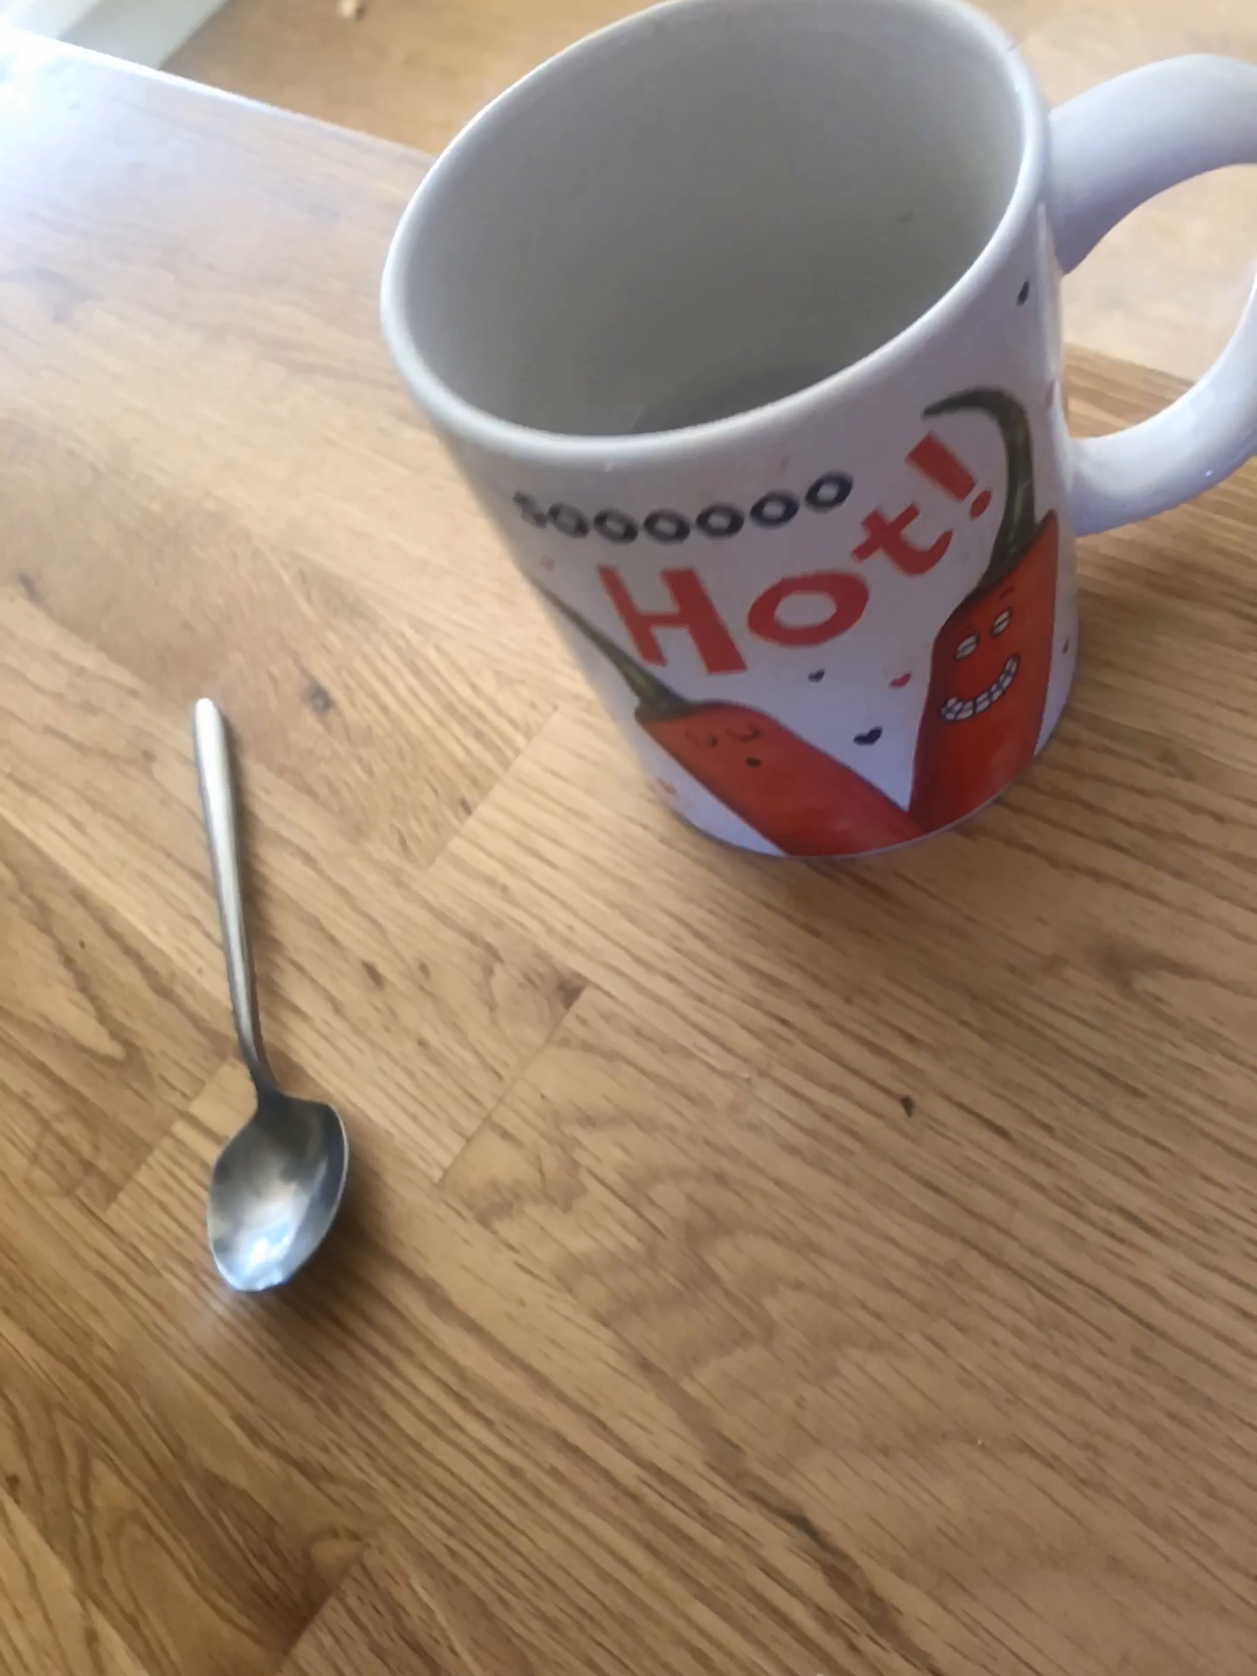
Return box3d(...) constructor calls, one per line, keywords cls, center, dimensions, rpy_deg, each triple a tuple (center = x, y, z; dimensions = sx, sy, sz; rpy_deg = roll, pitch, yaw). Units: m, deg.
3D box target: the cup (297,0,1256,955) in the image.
box3d(cls="cup", center=(0.038, -0.065, 0.227), dimensions=(0.136, 0.109, 0.097), rpy_deg=(-19, 58, 9))
